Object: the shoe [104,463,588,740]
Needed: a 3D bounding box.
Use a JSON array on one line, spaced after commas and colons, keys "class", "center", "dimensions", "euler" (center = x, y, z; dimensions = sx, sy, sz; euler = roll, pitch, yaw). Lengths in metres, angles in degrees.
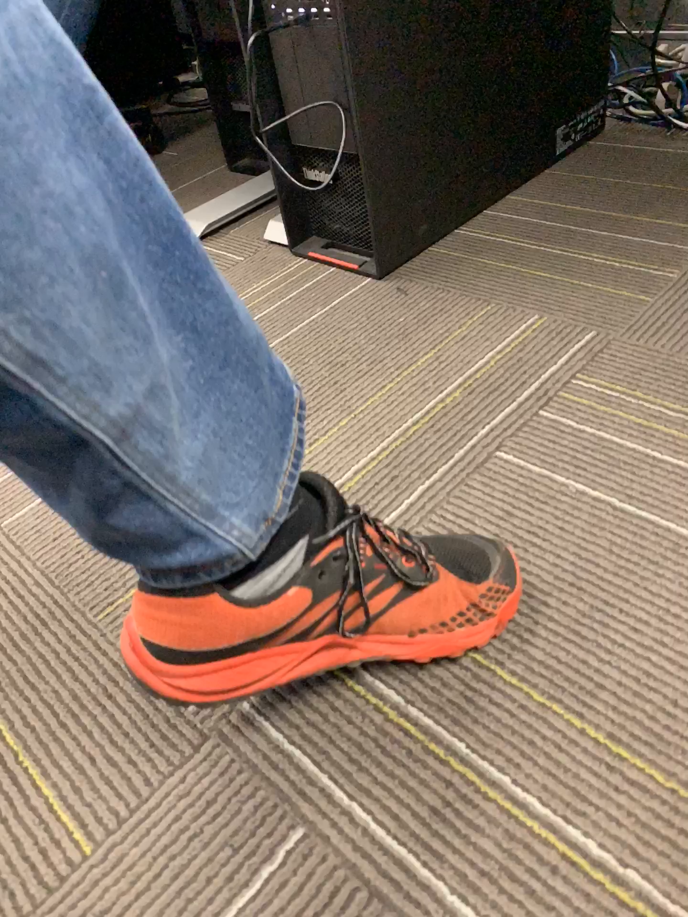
[{"class": "shoe", "center": [0.001, 0.084, 0.509], "dimensions": [0.314, 0.106, 0.127], "euler": [-2, 26, -26]}]
